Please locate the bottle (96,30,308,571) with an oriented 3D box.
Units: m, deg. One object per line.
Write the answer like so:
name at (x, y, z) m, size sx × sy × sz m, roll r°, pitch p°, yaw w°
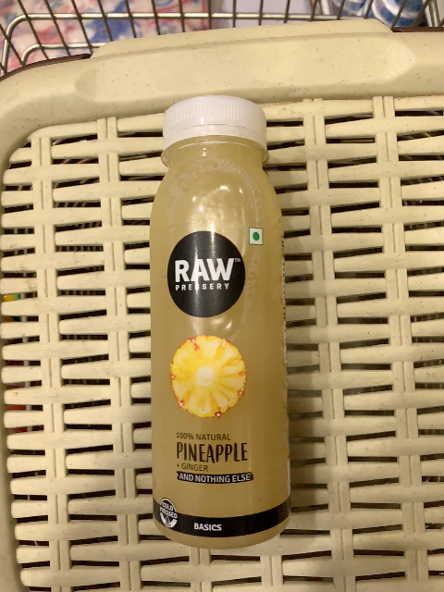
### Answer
bottle at (-0.006, 0.000, 0.162) m, size 0.060 × 0.050 × 0.160 m, roll -1°, pitch 85°, yaw 2°
